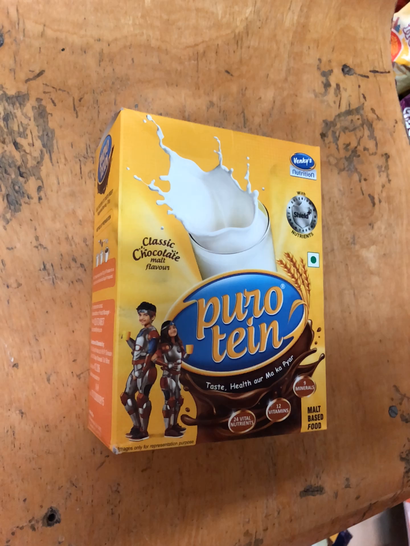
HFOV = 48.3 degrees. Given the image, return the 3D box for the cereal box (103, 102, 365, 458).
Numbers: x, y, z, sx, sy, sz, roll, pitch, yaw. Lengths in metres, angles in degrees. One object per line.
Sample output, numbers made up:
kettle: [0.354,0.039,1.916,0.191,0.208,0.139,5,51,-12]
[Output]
cereal box: [0.013,0.006,0.291,0.140,0.080,0.180,2,83,-21]
